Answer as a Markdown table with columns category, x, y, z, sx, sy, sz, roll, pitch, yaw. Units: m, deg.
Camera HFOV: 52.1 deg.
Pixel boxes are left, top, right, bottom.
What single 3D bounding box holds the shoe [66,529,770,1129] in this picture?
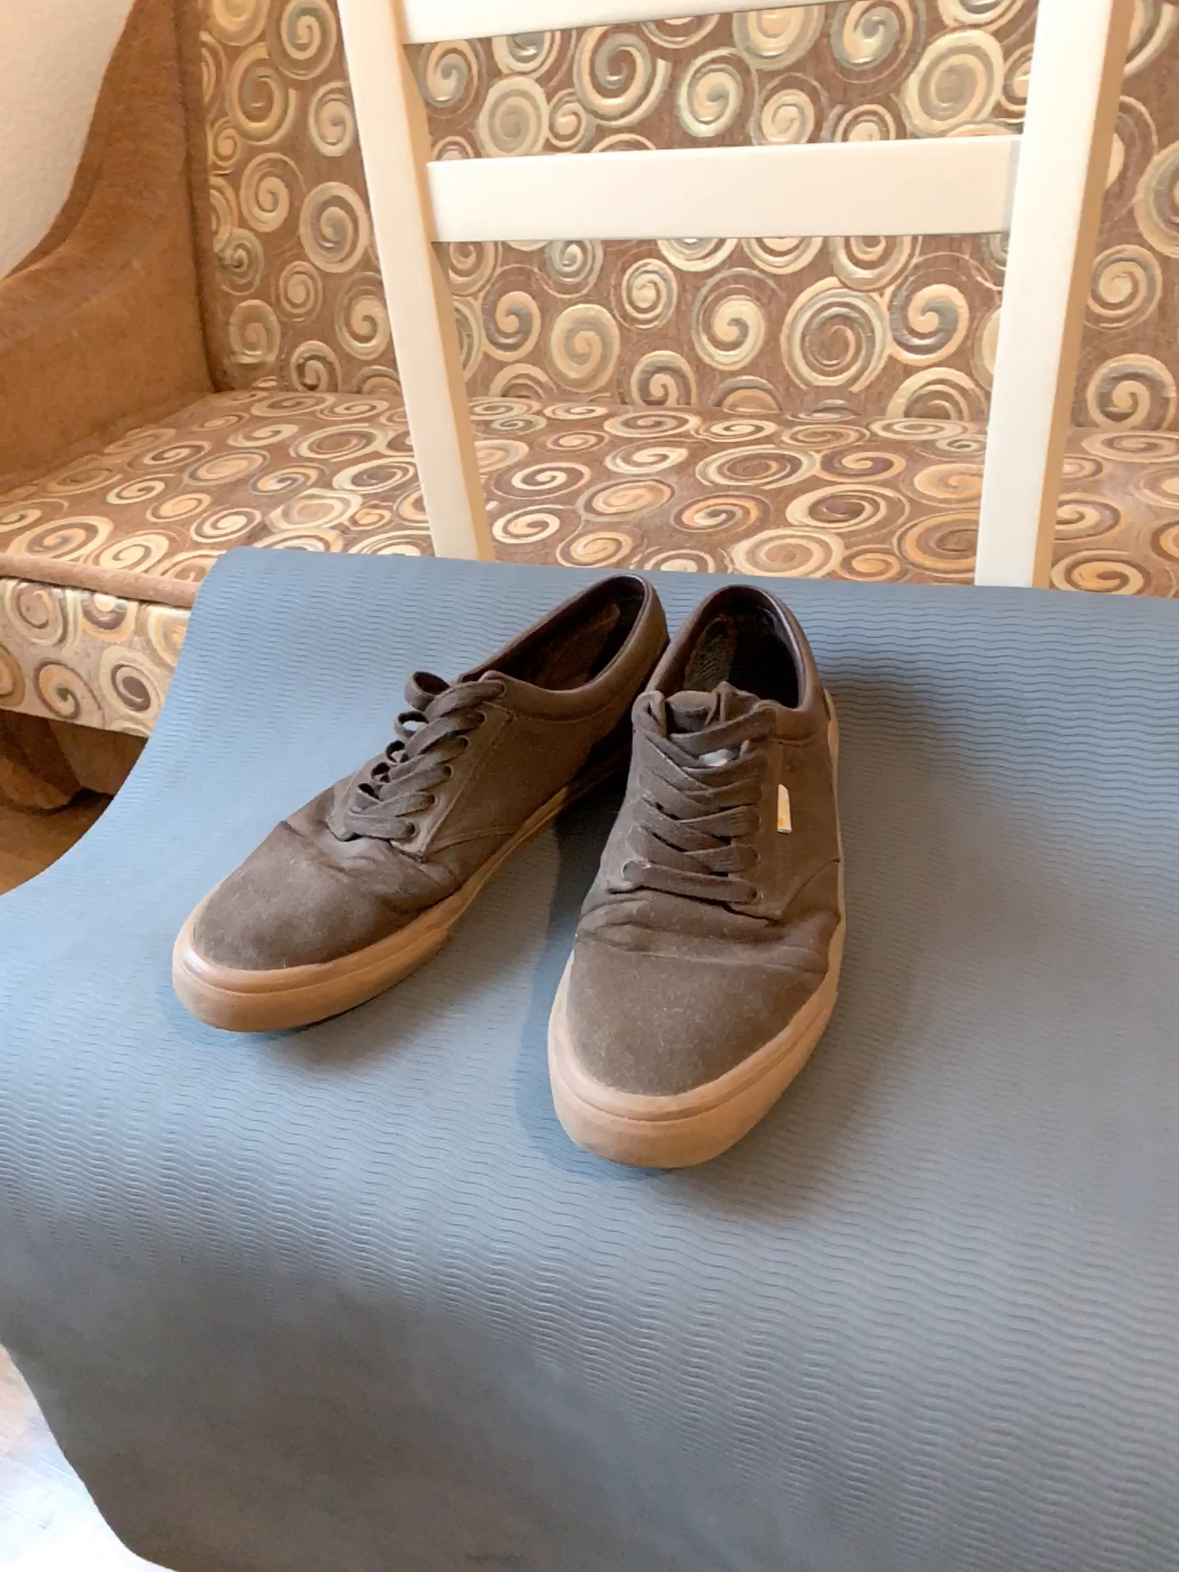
| category | x | y | z | sx | sy | sz | roll | pitch | yaw |
| --- | --- | --- | --- | --- | --- | --- | --- | --- | --- |
| shoe | -0.057 | -0.004 | 0.578 | 0.110 | 0.080 | 0.341 | 23 | 48 | 35 |

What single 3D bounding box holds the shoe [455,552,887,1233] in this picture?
| category | x | y | z | sx | sy | sz | roll | pitch | yaw |
| --- | --- | --- | --- | --- | --- | --- | --- | --- | --- |
| shoe | 0.057 | 0.014 | 0.511 | 0.110 | 0.080 | 0.321 | 3 | 40 | 17 |
